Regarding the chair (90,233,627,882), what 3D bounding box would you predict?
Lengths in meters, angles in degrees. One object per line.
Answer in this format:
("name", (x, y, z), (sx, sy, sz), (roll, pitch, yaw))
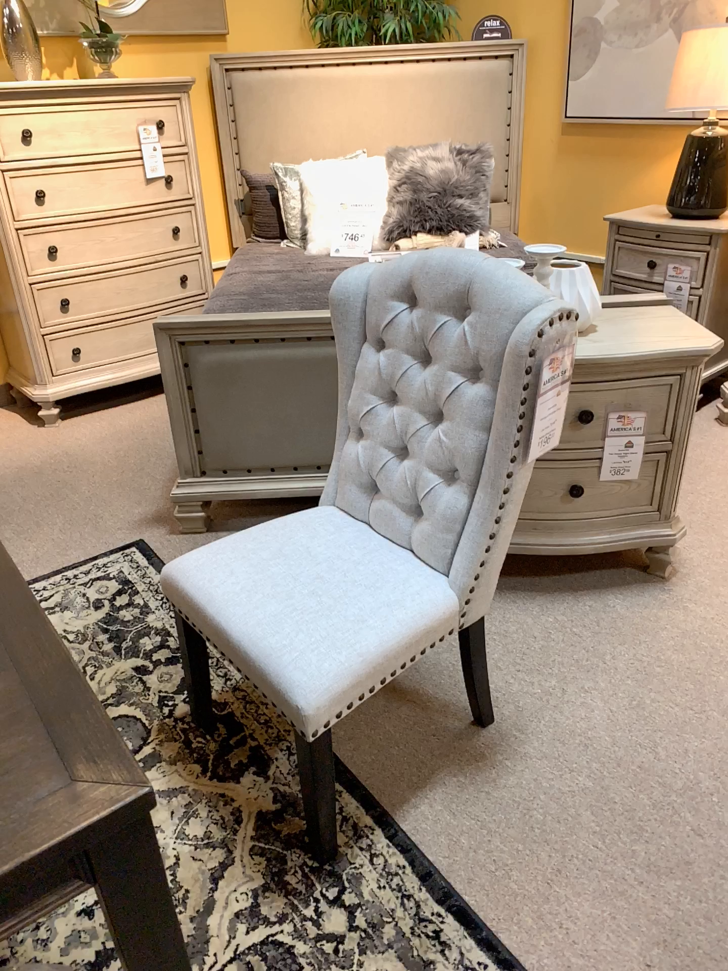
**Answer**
("chair", (0.010, 0.073, 1.535), (0.742, 0.973, 0.589), (-23, 34, -32))
